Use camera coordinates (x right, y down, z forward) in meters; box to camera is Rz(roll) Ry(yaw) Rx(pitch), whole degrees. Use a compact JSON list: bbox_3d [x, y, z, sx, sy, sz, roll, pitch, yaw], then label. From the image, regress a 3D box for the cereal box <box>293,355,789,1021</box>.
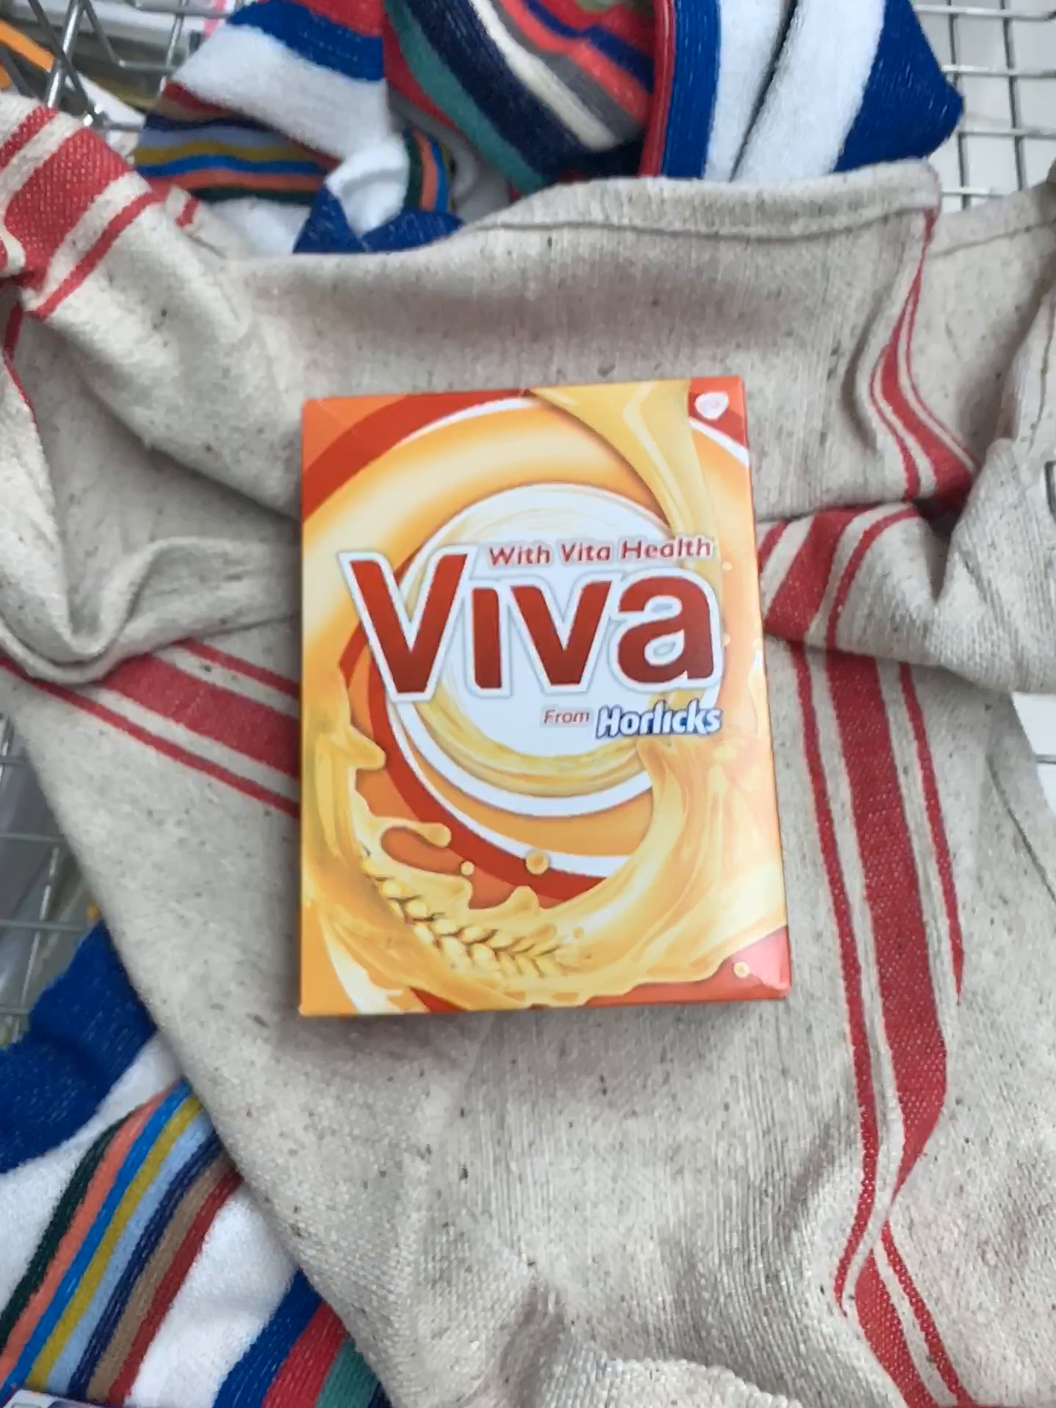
[{"bbox_3d":[0.000,-0.004,0.363,0.140,0.070,0.200,-2,79,-1],"label":"cereal box"}]
